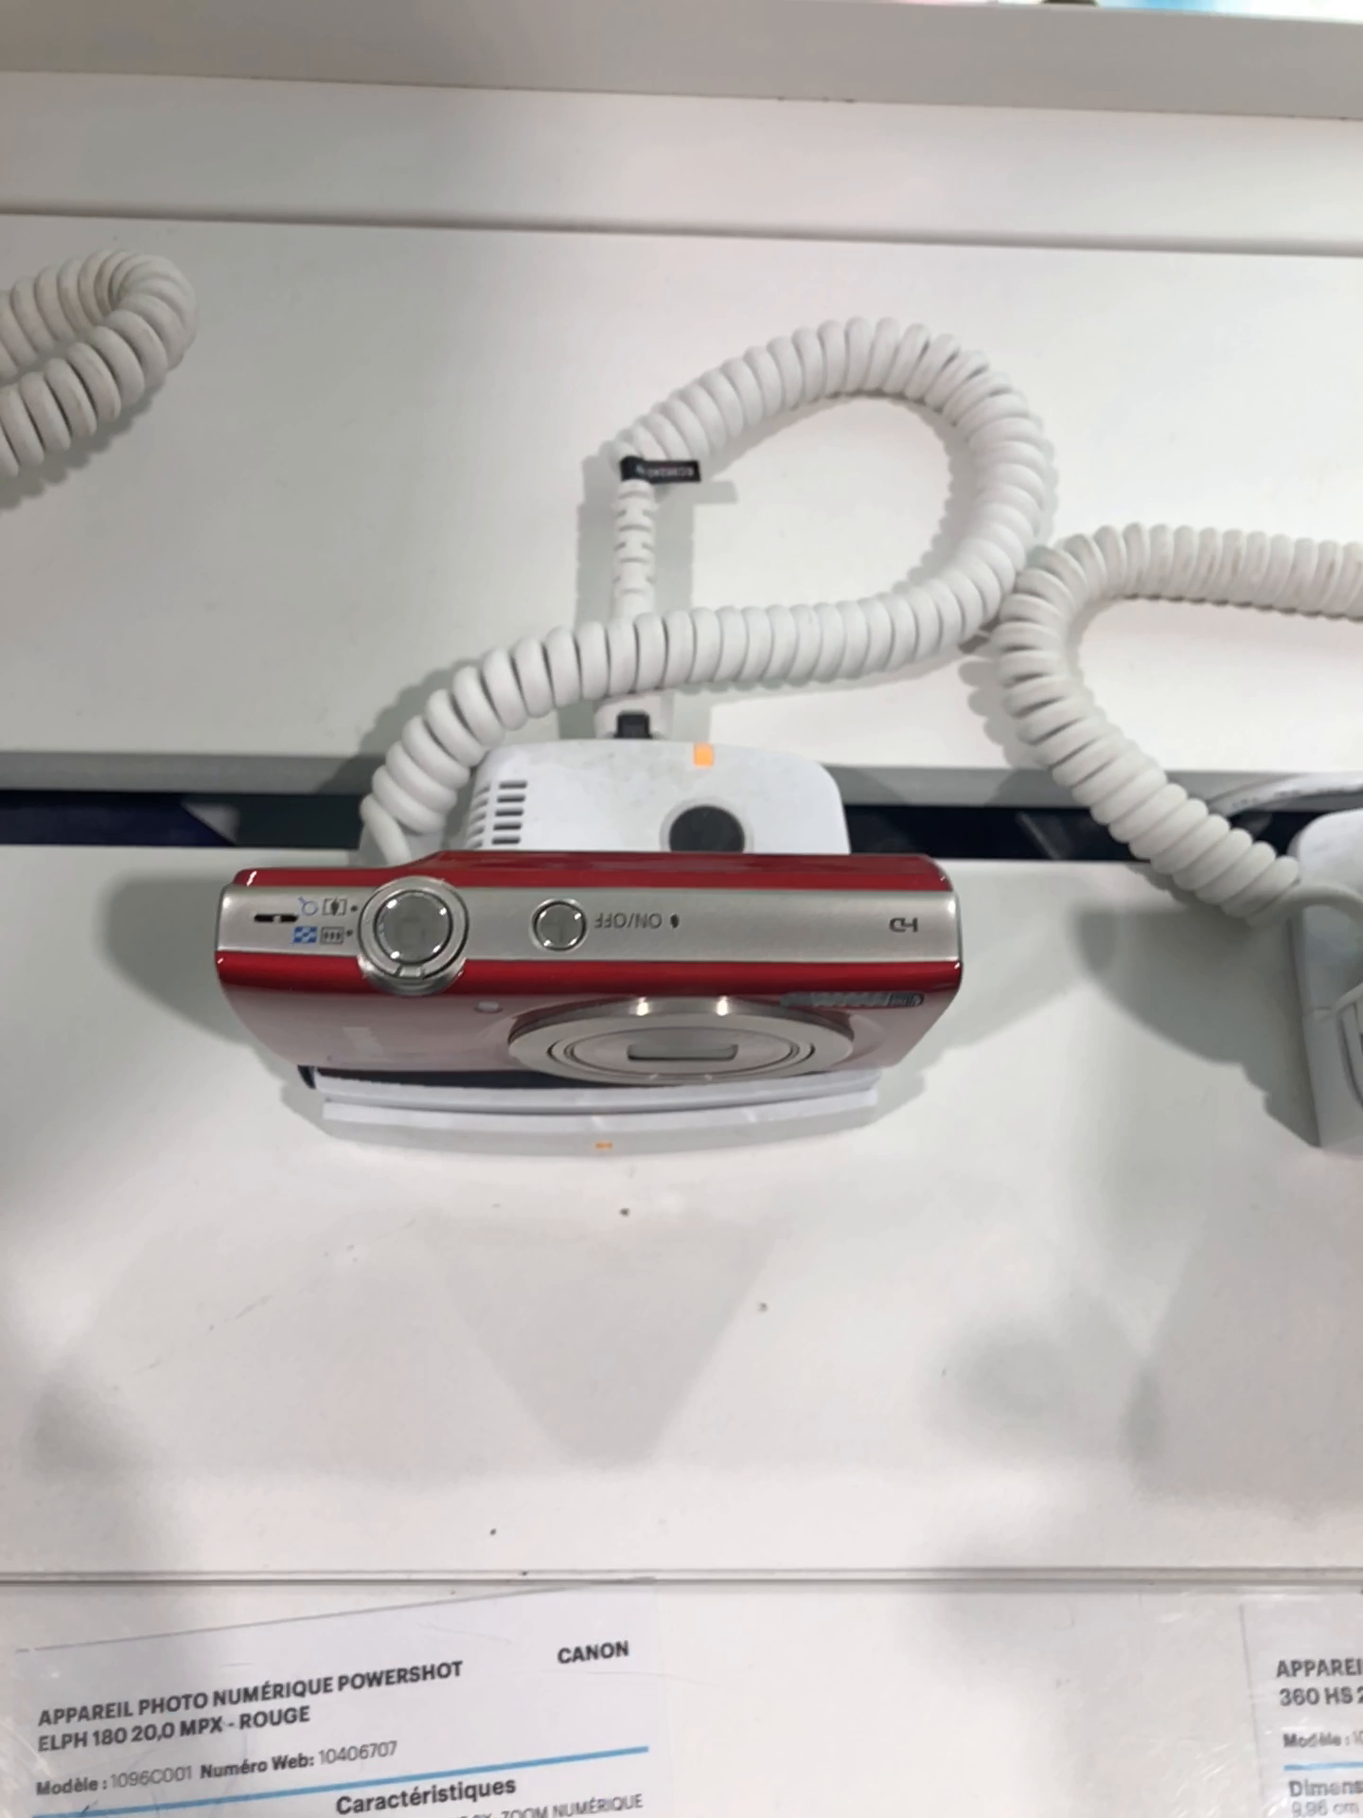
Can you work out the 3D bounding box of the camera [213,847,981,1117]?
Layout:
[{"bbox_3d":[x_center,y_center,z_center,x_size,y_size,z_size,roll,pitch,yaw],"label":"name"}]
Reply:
[{"bbox_3d":[-0.011,0.012,0.211,0.093,0.050,0.022,-1,69,-2],"label":"camera"}]
